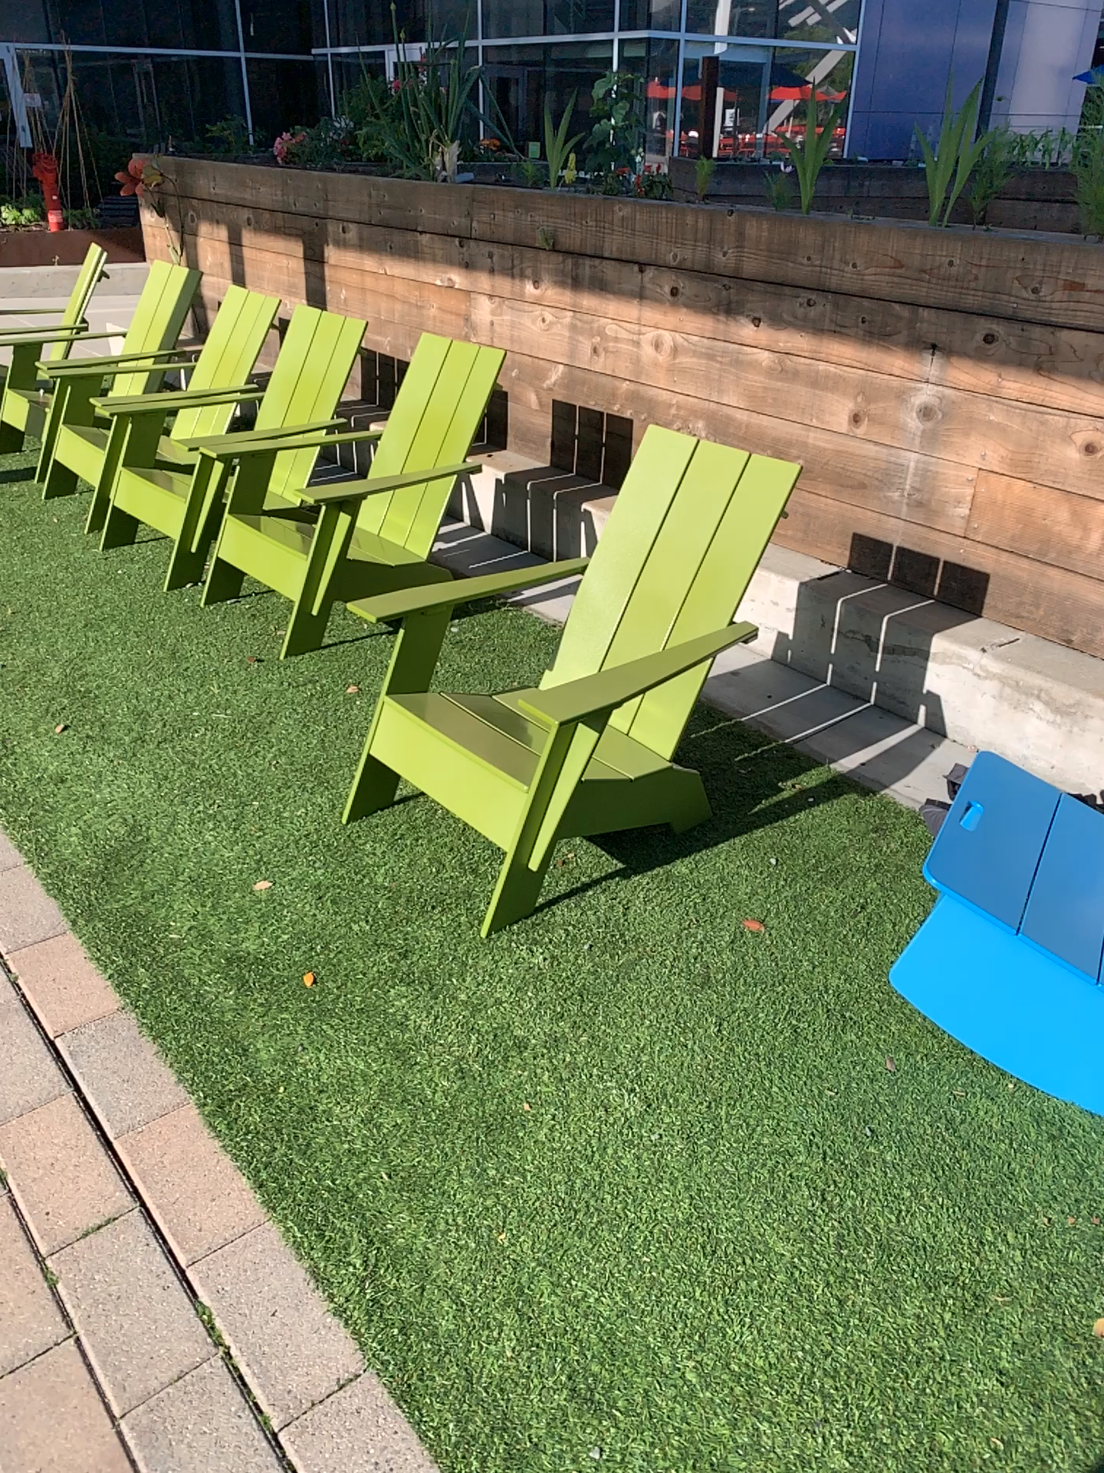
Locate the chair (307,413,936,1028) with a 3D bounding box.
[{"bbox_3d":[0.133,-0.133,2.561,1.001,0.895,0.854,-20,35,-33],"label":"chair"}]
